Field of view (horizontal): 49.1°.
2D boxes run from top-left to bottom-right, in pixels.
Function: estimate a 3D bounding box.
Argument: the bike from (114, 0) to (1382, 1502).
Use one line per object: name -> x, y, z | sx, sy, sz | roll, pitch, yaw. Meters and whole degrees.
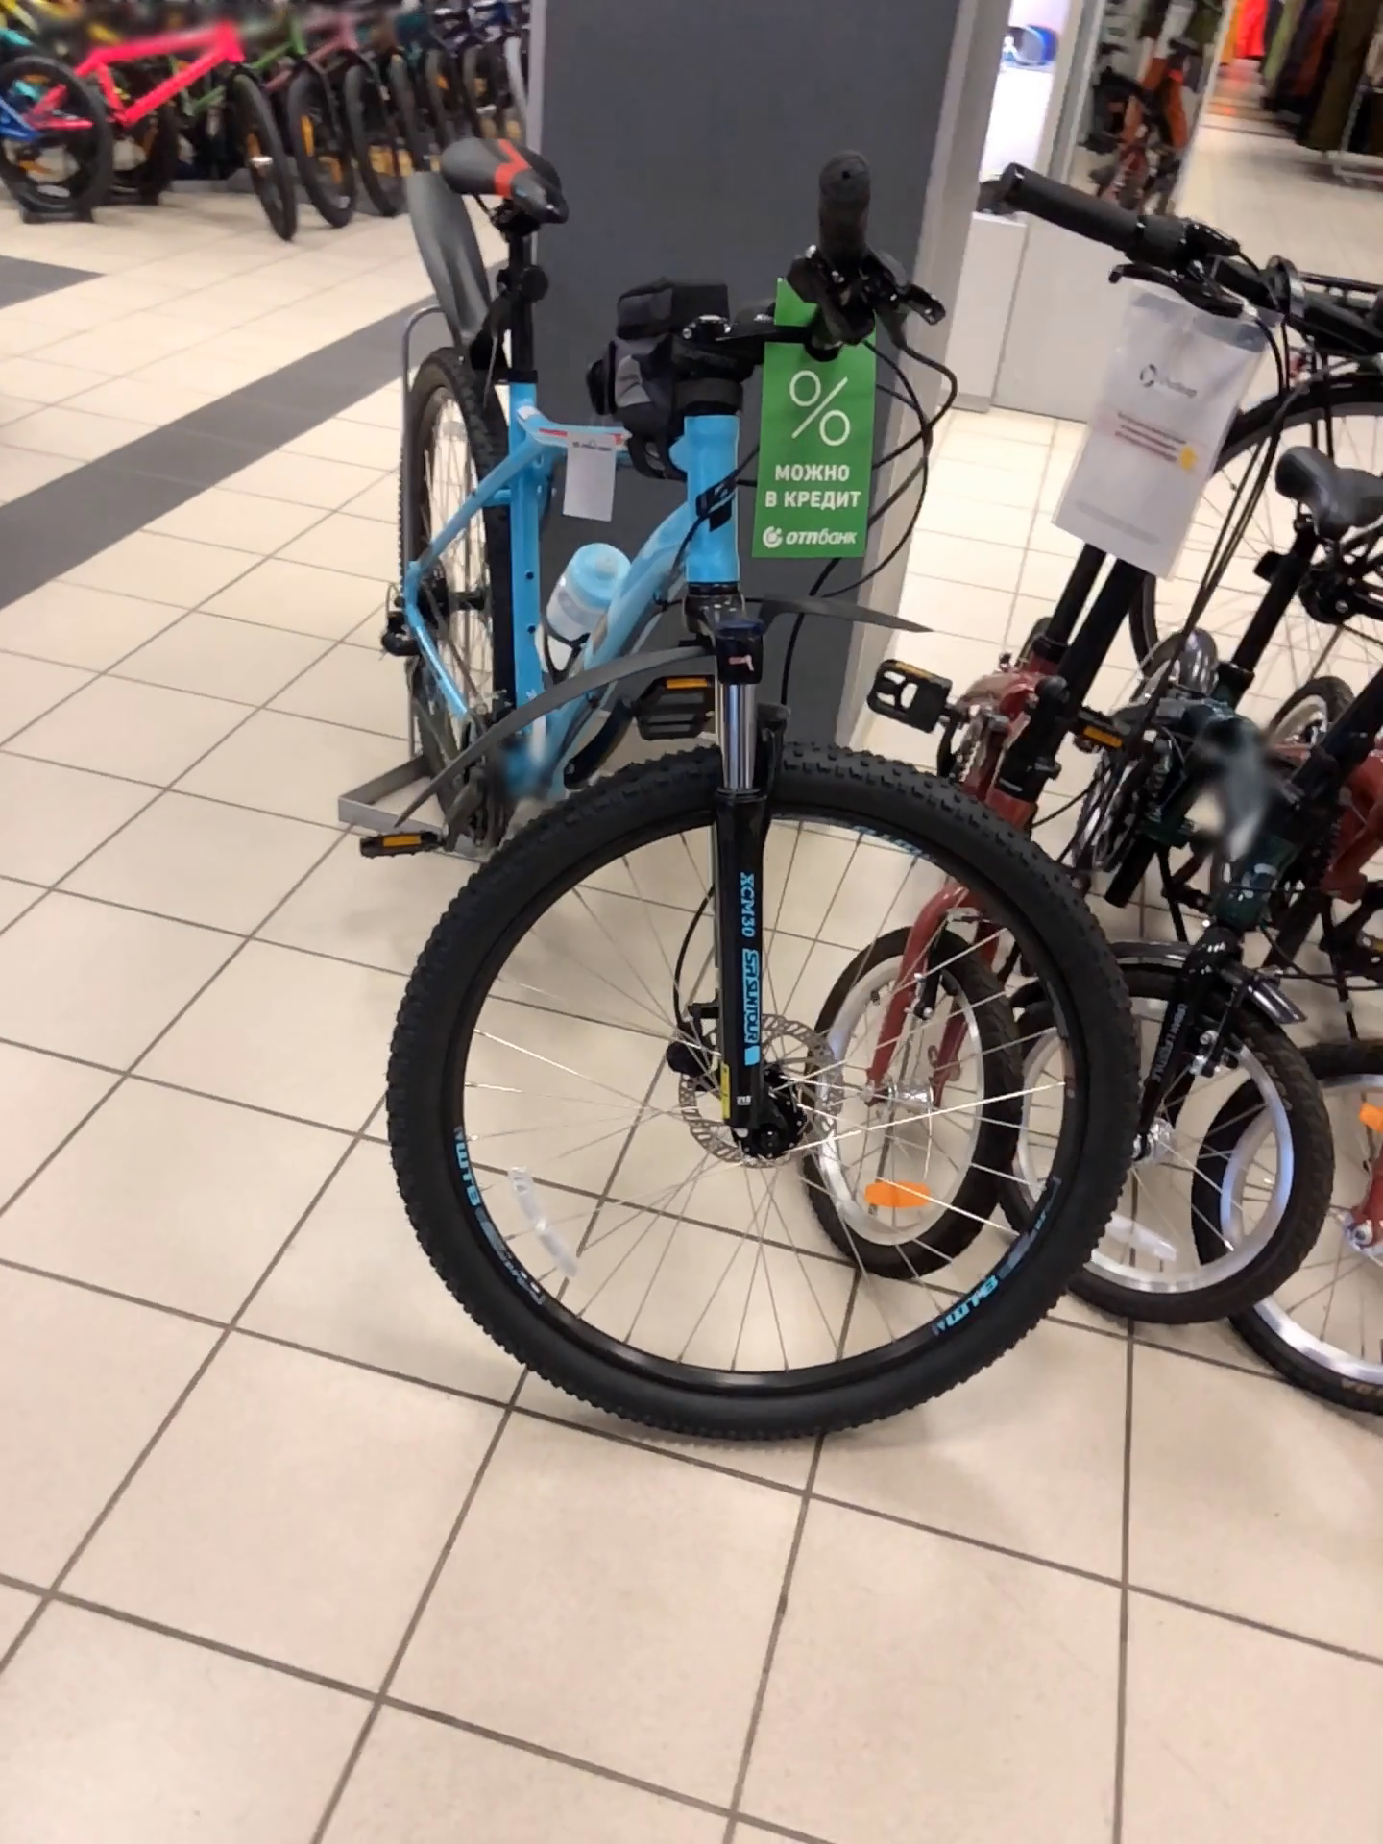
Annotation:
bike -> -0.031, -0.386, 1.821 | 0.693, 1.084, 1.616 | -15, 41, -29
